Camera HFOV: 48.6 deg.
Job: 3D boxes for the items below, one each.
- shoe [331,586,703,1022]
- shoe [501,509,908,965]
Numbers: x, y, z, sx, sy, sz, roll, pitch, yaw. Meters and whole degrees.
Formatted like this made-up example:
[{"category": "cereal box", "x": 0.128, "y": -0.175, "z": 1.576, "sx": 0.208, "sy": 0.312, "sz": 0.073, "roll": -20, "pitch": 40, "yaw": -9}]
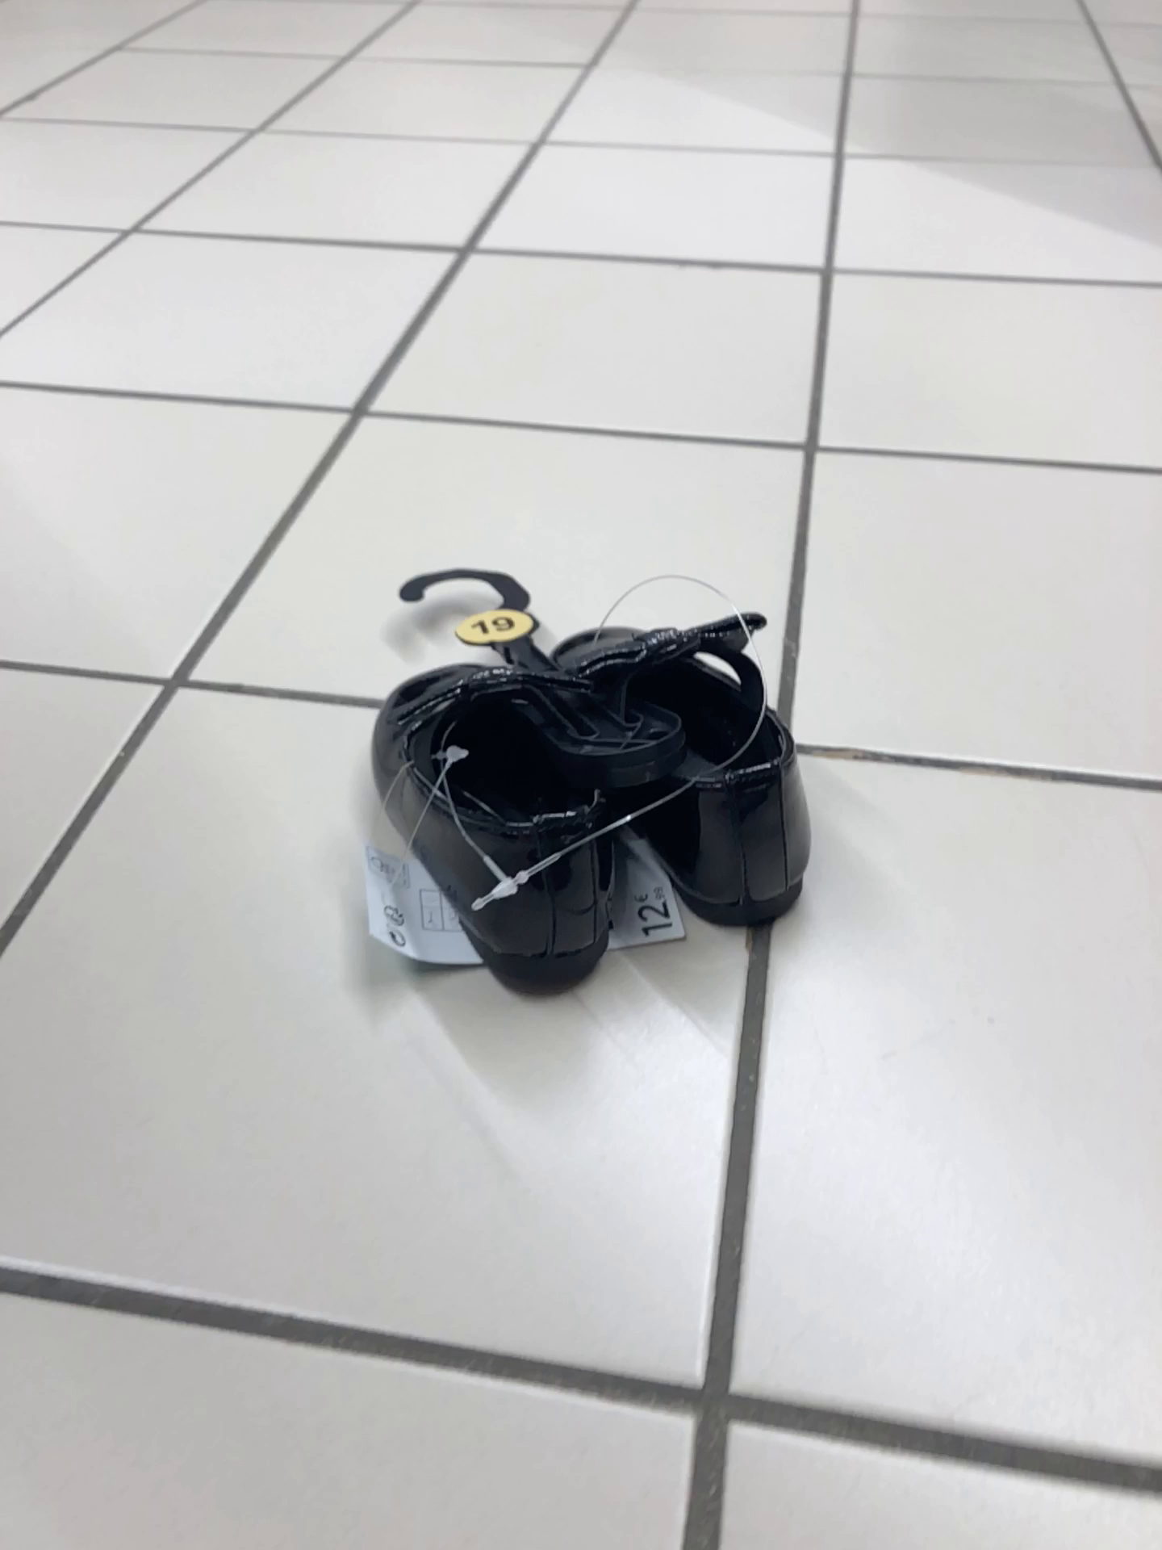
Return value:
[{"category": "shoe", "x": -0.022, "y": 0.001, "z": 0.355, "sx": 0.061, "sy": 0.037, "sz": 0.123, "roll": -15, "pitch": 43, "yaw": -16}, {"category": "shoe", "x": 0.028, "y": -0.017, "z": 0.365, "sx": 0.061, "sy": 0.052, "sz": 0.125, "roll": -15, "pitch": 43, "yaw": -16}]
